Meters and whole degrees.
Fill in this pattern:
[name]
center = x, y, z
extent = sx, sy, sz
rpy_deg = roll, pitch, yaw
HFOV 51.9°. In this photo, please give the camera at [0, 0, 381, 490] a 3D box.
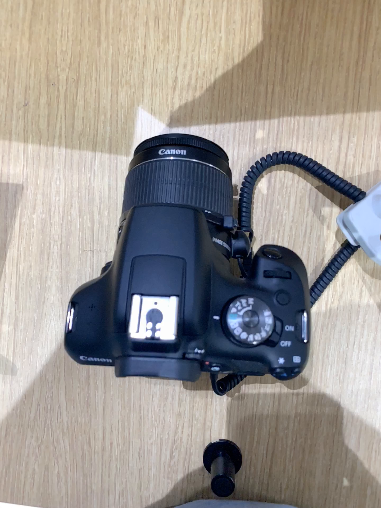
[camera]
center = 0.000, -0.009, 0.184
extent = 0.140, 0.110, 0.160
rpy_deg = 4, 95, 4
